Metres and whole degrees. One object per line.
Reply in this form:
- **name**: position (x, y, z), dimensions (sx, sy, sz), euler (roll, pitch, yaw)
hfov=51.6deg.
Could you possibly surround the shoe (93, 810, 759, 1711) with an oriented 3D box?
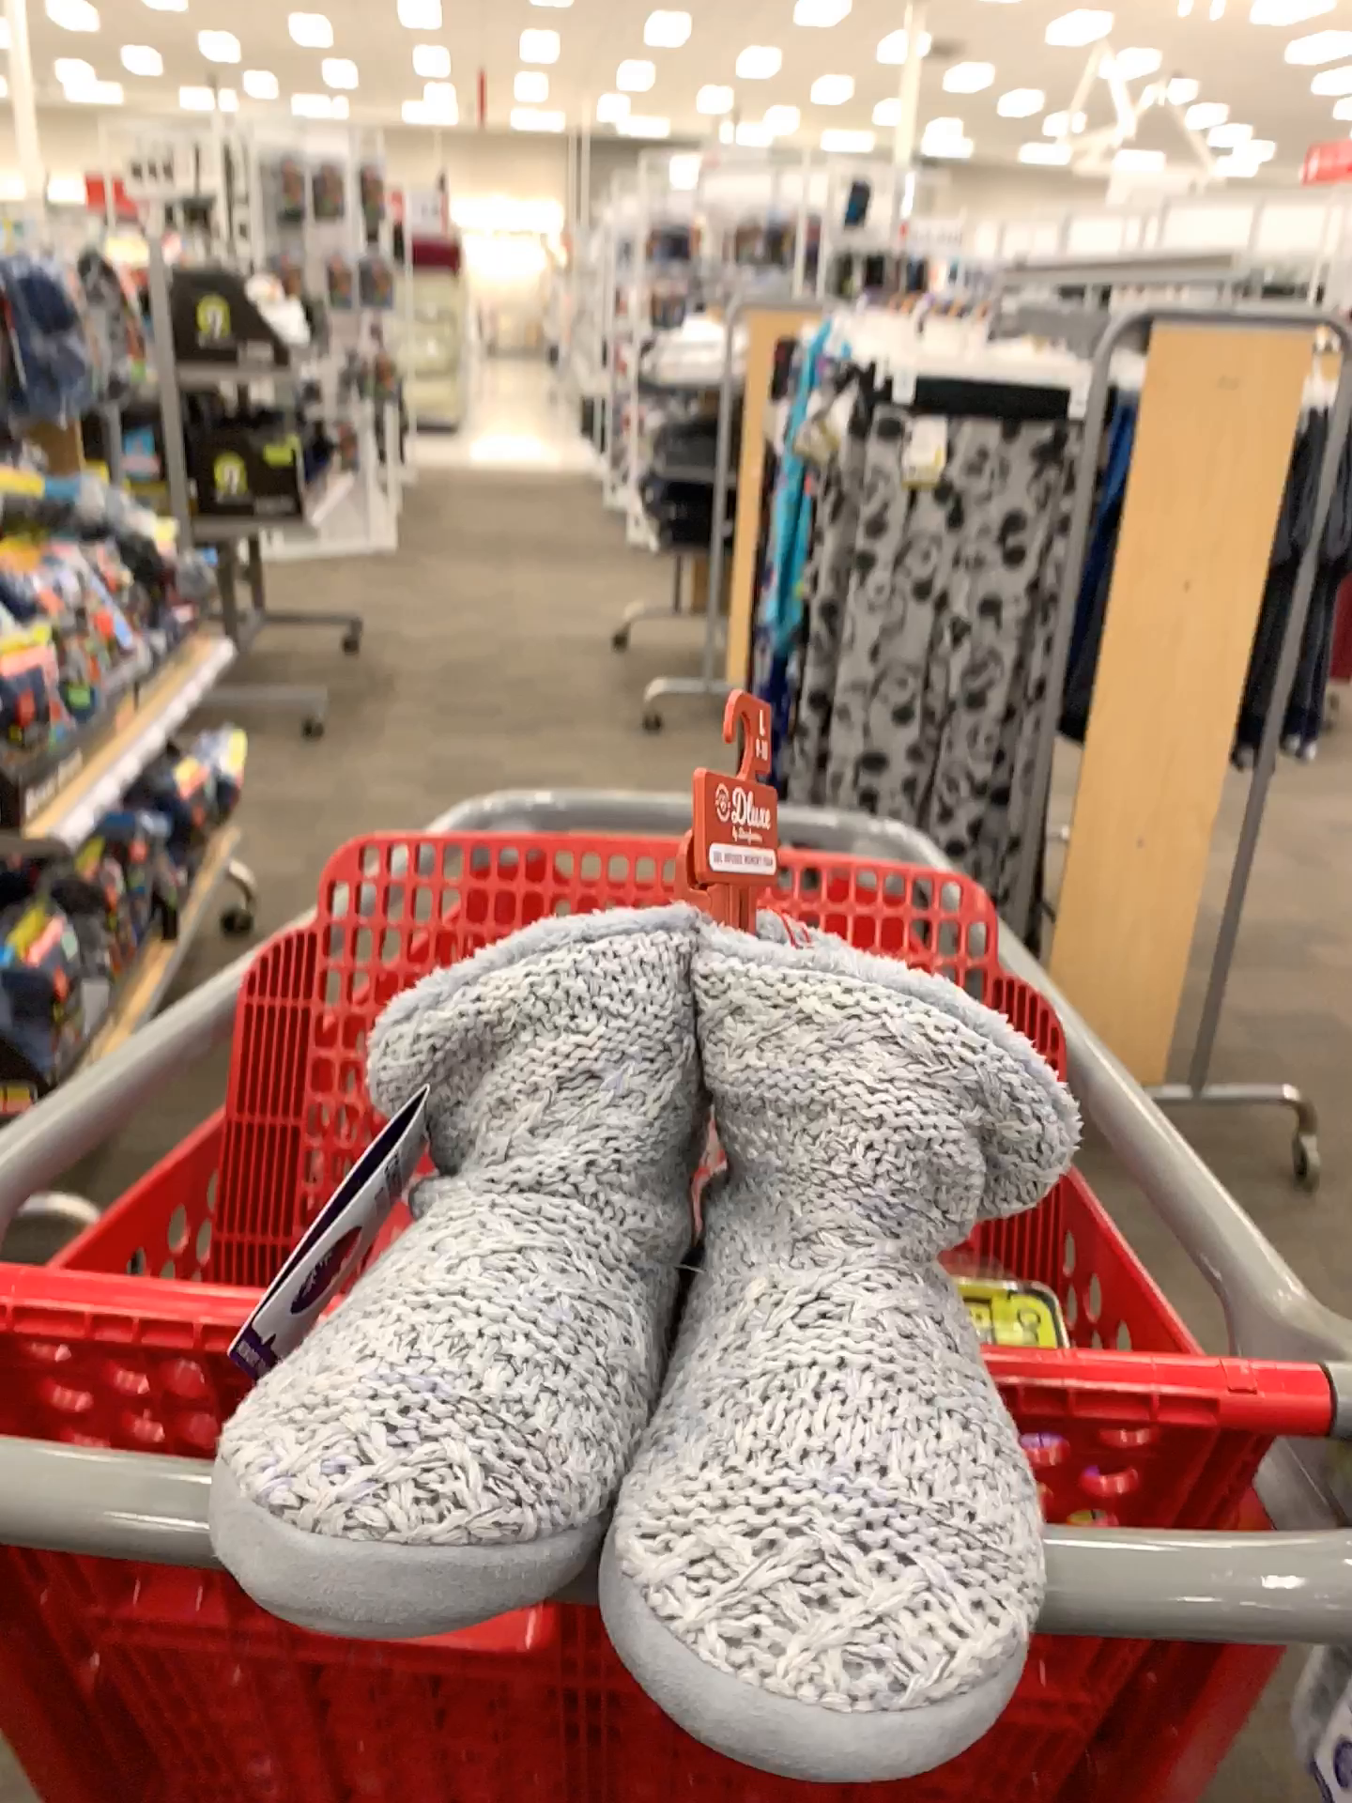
- **shoe**: position (-0.051, 0.075, 0.424), dimensions (0.110, 0.140, 0.251), euler (7, 18, 9)

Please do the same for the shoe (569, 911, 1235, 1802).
- **shoe**: position (0.057, 0.100, 0.368), dimensions (0.110, 0.120, 0.231), euler (7, 18, 9)
